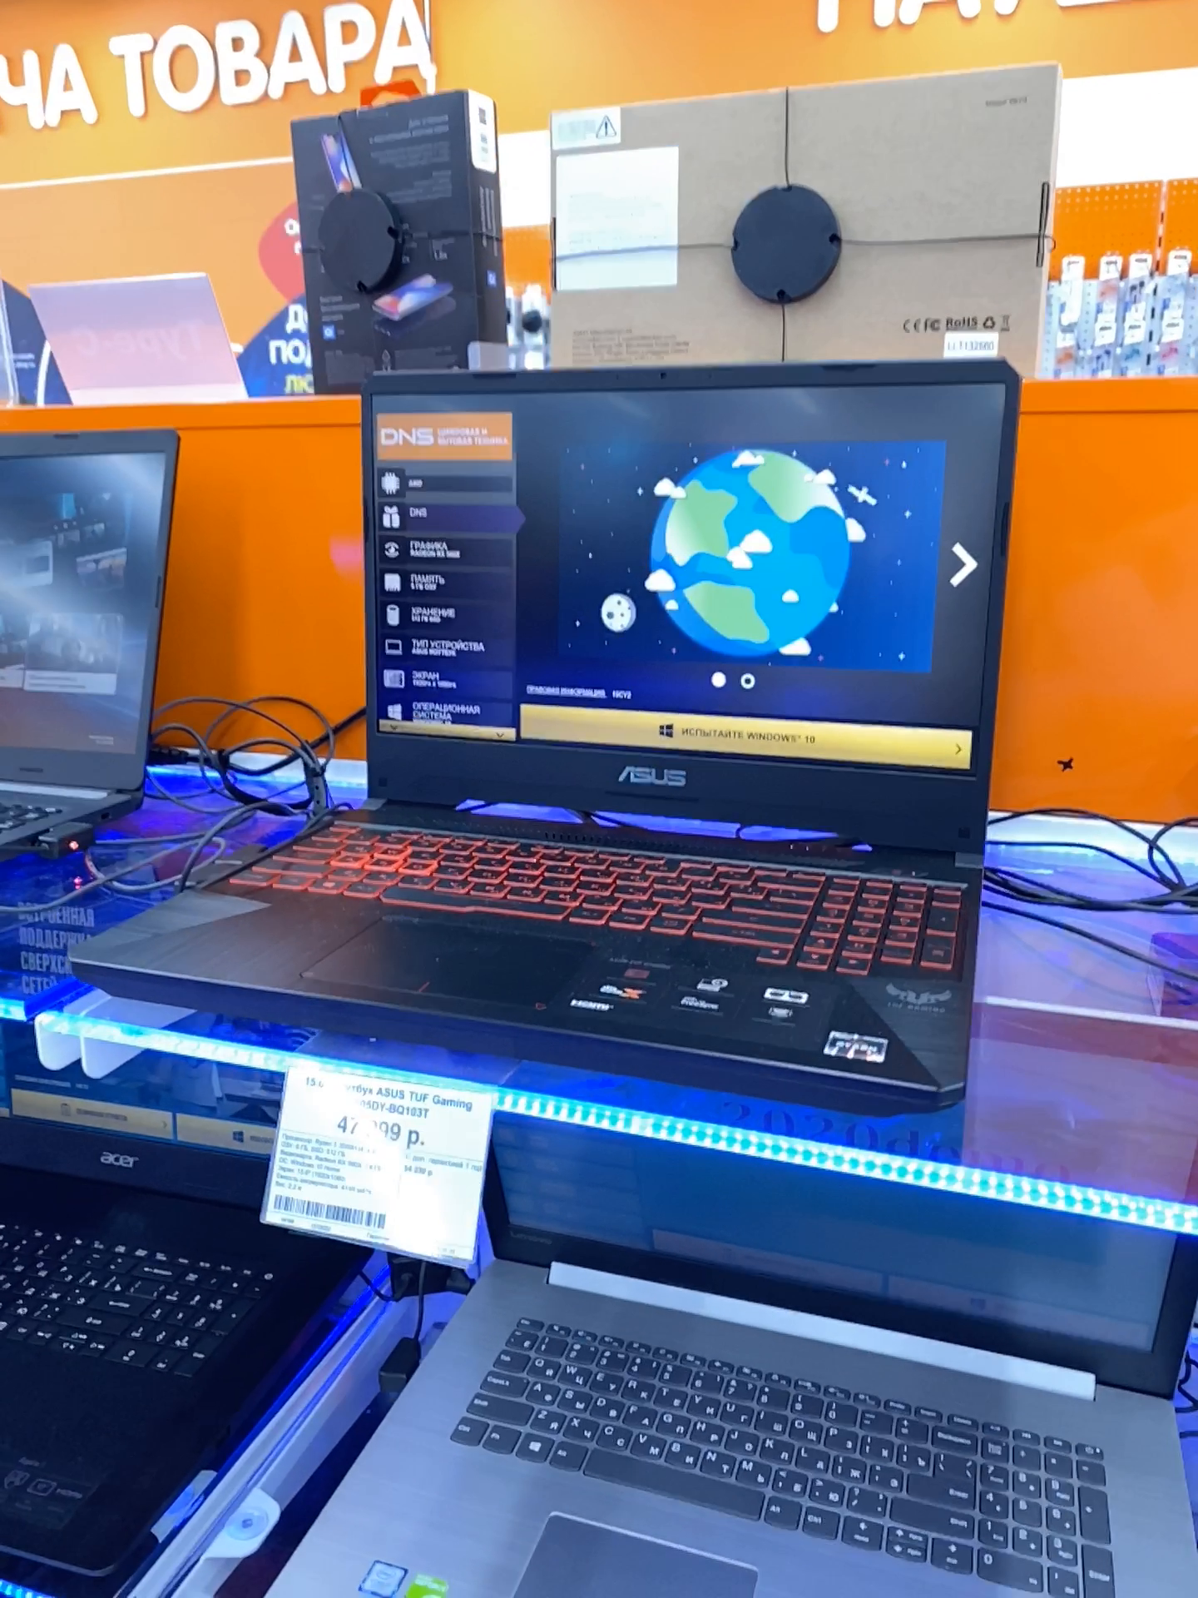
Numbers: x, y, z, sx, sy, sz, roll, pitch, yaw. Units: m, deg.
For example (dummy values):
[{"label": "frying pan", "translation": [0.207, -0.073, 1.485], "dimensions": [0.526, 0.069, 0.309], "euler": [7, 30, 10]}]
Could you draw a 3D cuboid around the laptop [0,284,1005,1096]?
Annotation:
[{"label": "laptop", "translation": [-0.013, -0.074, 0.560], "dimensions": [0.359, 0.248, 0.286], "euler": [5, 15, 18]}]
